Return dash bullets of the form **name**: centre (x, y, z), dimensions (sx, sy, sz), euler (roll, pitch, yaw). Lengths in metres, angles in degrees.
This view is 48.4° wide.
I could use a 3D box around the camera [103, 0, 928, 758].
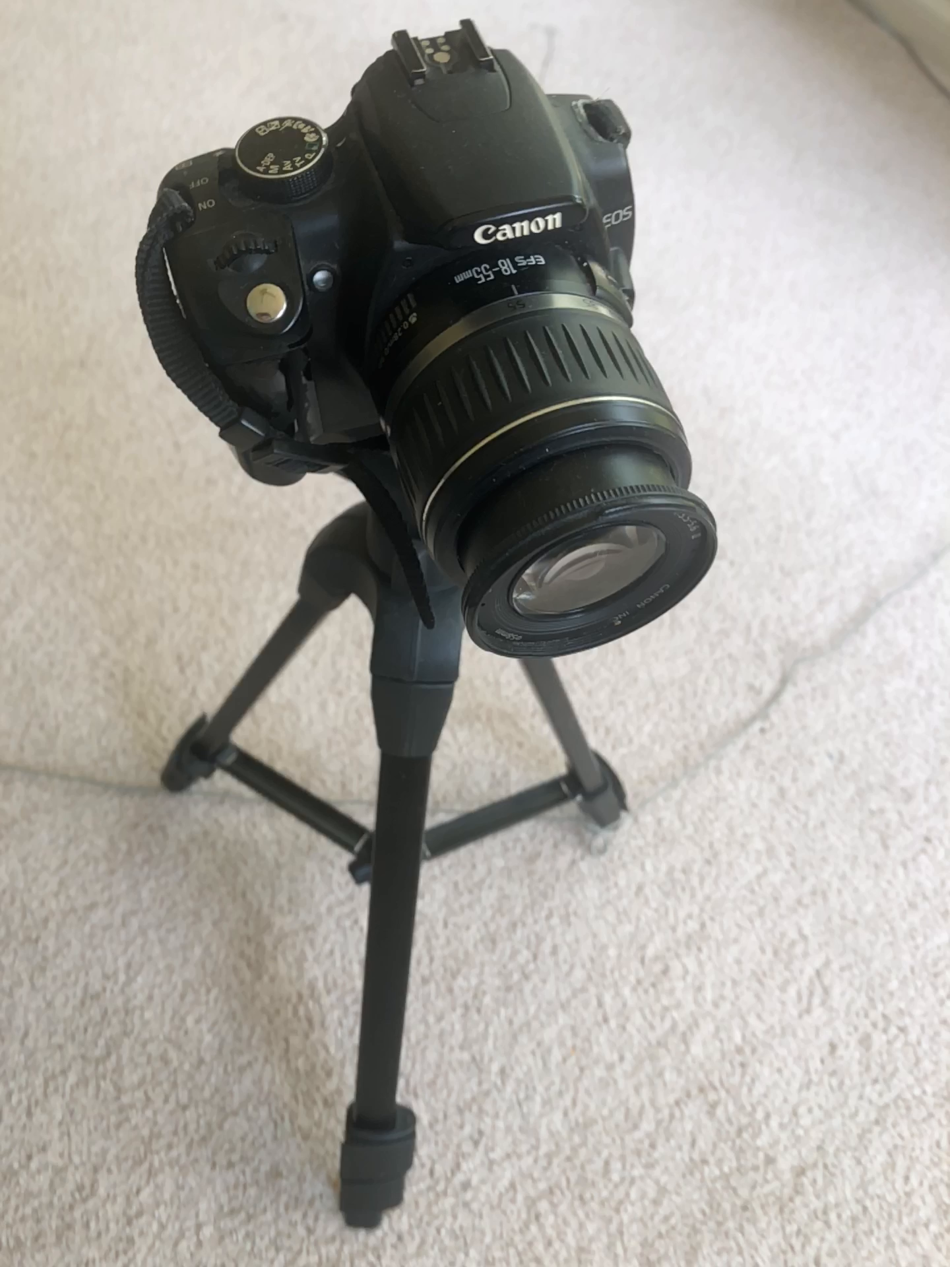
- **camera**: centre (0.000, -0.070, 0.262), dimensions (0.130, 0.093, 0.143), euler (-17, 63, -10)
